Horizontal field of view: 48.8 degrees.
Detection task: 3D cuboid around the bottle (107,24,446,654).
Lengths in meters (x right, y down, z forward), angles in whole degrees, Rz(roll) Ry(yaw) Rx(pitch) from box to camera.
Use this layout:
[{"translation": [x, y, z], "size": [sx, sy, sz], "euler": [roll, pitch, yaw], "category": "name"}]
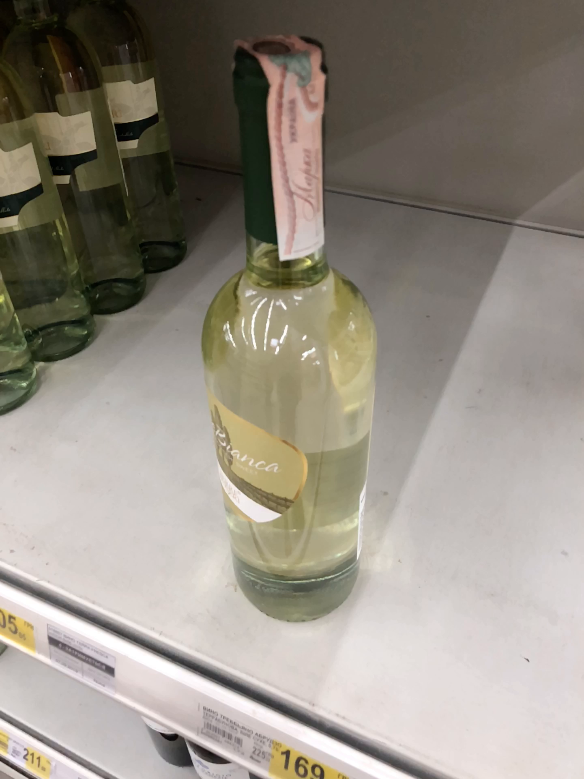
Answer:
[{"translation": [-0.003, 0.006, 0.279], "size": [0.070, 0.269, 0.070], "euler": [-1, 43, 1], "category": "bottle"}]
